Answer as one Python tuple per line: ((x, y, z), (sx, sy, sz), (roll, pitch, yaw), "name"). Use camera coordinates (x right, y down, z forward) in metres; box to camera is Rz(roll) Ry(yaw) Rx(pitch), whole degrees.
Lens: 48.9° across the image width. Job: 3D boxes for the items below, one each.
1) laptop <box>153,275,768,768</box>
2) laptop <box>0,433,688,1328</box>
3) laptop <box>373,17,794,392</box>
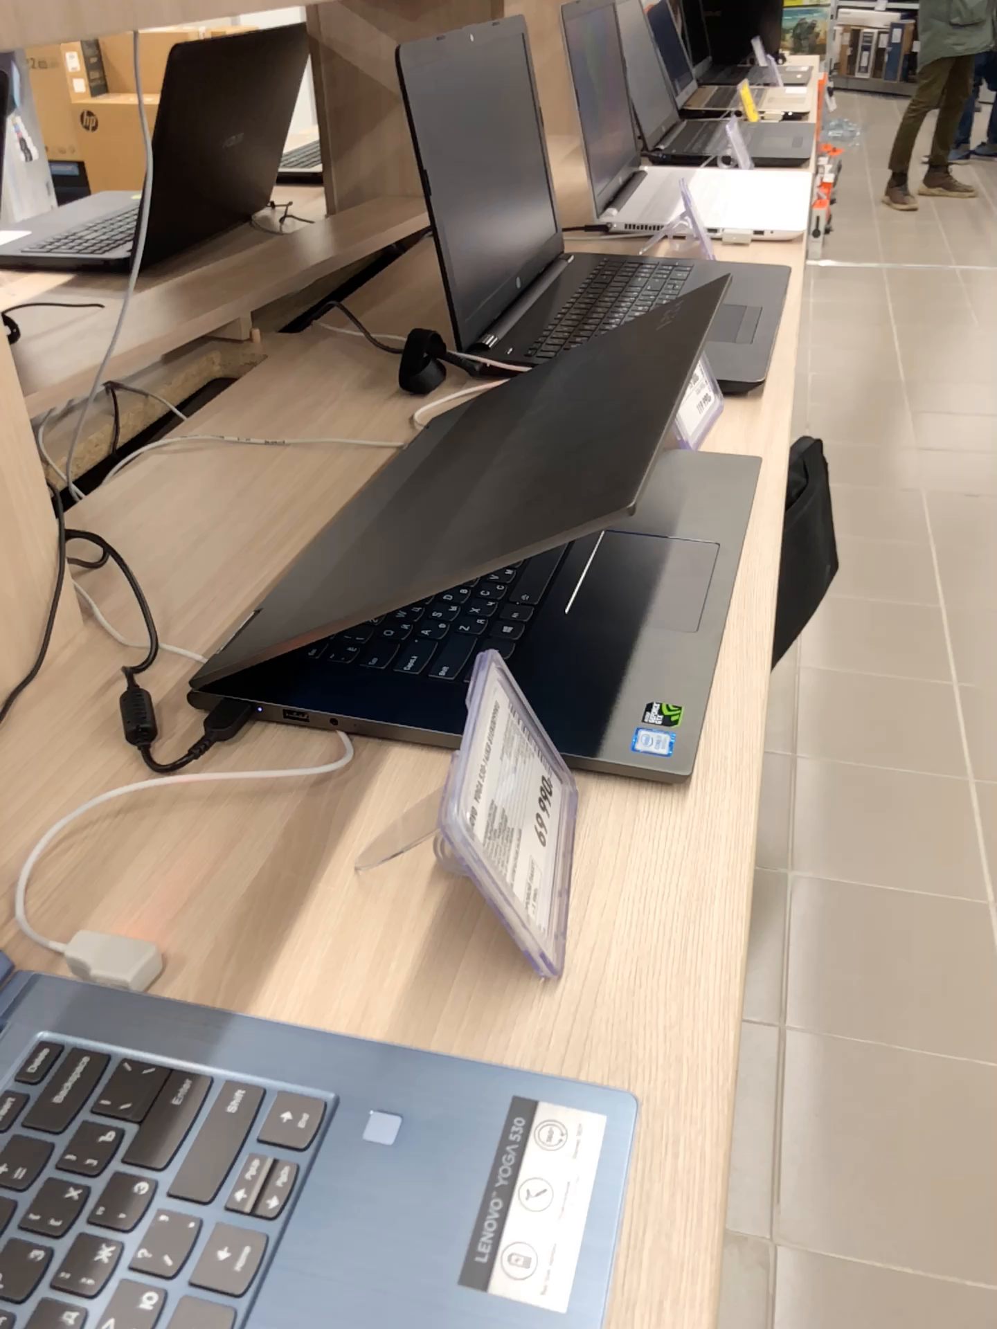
((0.015, -0.115, 0.636), (0.242, 0.118, 0.364), (8, 33, 13), "laptop")
((-0.171, 0.123, 0.189), (0.342, 0.201, 0.356), (6, 32, 12), "laptop")
((0.106, -0.460, 1.045), (0.304, 0.240, 0.404), (8, 34, 11), "laptop")
